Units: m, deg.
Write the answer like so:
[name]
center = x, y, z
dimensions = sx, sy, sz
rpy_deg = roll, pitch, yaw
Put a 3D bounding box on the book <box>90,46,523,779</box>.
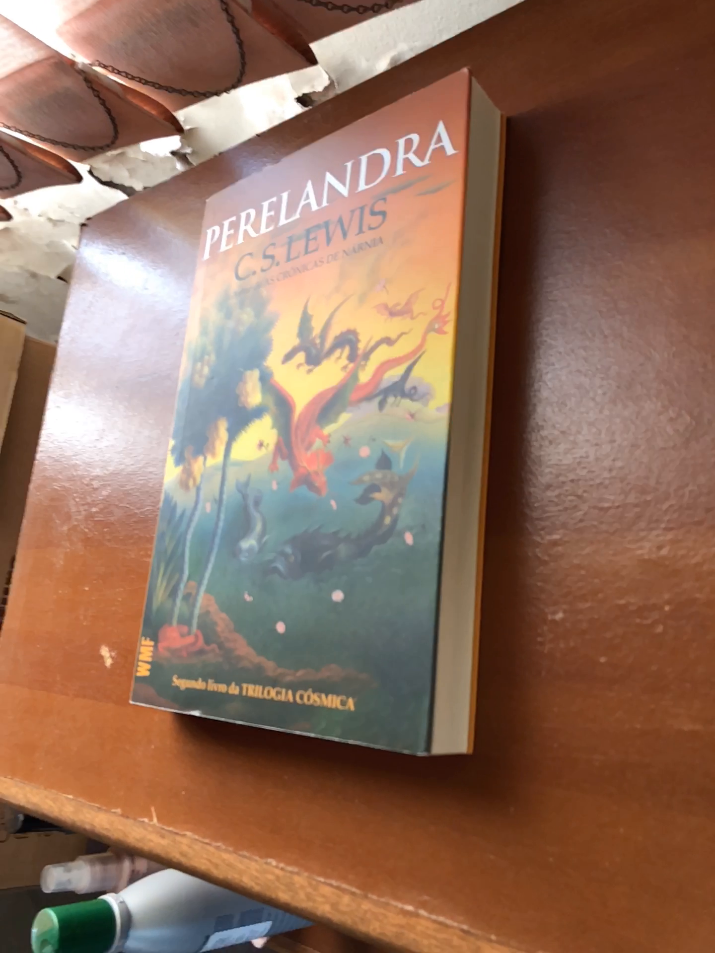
[book]
center = -0.018, -0.017, 0.246
dimensions = 0.130, 0.030, 0.190
rpy_deg = -7, 70, 41
